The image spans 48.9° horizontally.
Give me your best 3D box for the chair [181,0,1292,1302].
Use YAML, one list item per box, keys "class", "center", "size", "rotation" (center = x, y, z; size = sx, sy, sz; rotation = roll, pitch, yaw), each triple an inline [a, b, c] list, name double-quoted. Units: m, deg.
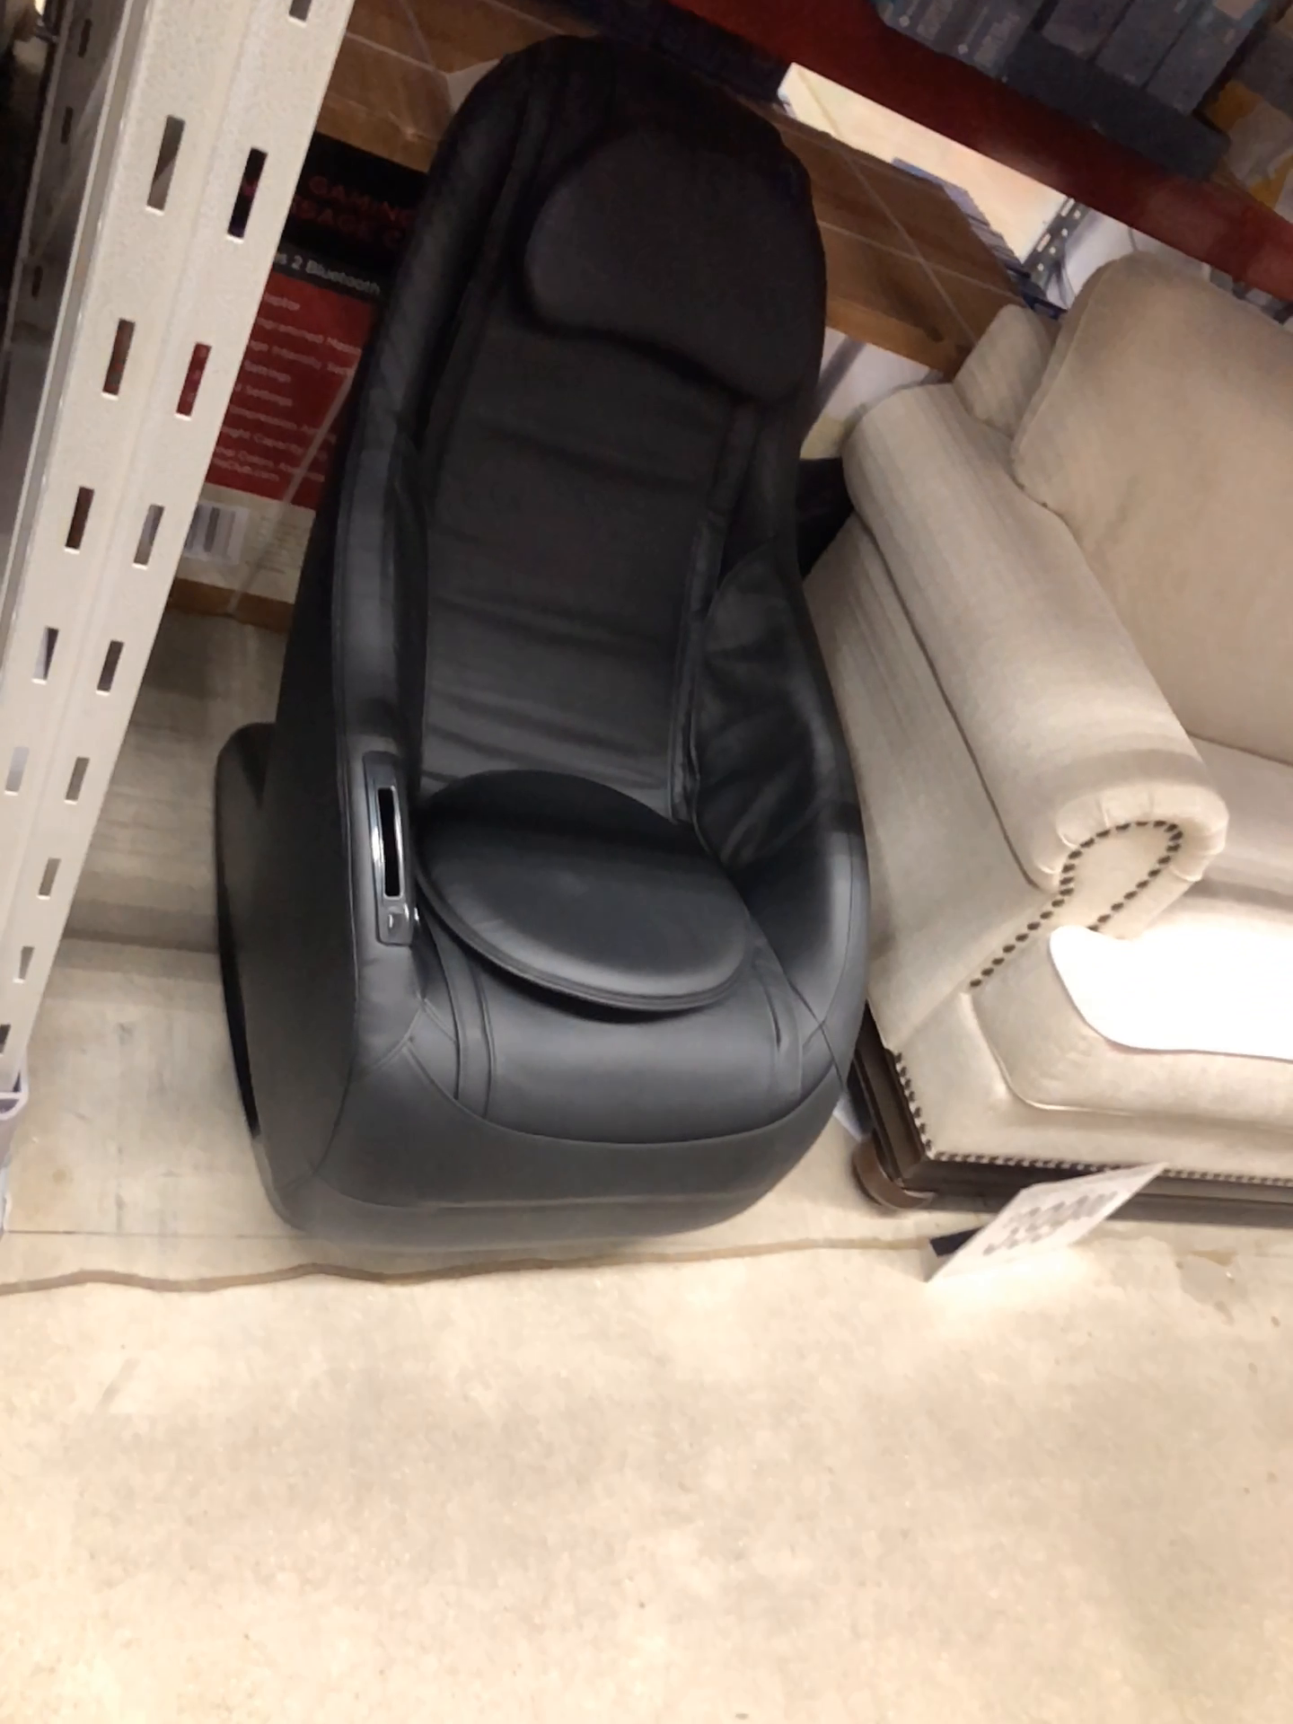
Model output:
- class: "chair"
  center: [0.040, -0.145, 1.294]
  size: [0.652, 0.847, 0.700]
  rotation: [5, 47, -31]
